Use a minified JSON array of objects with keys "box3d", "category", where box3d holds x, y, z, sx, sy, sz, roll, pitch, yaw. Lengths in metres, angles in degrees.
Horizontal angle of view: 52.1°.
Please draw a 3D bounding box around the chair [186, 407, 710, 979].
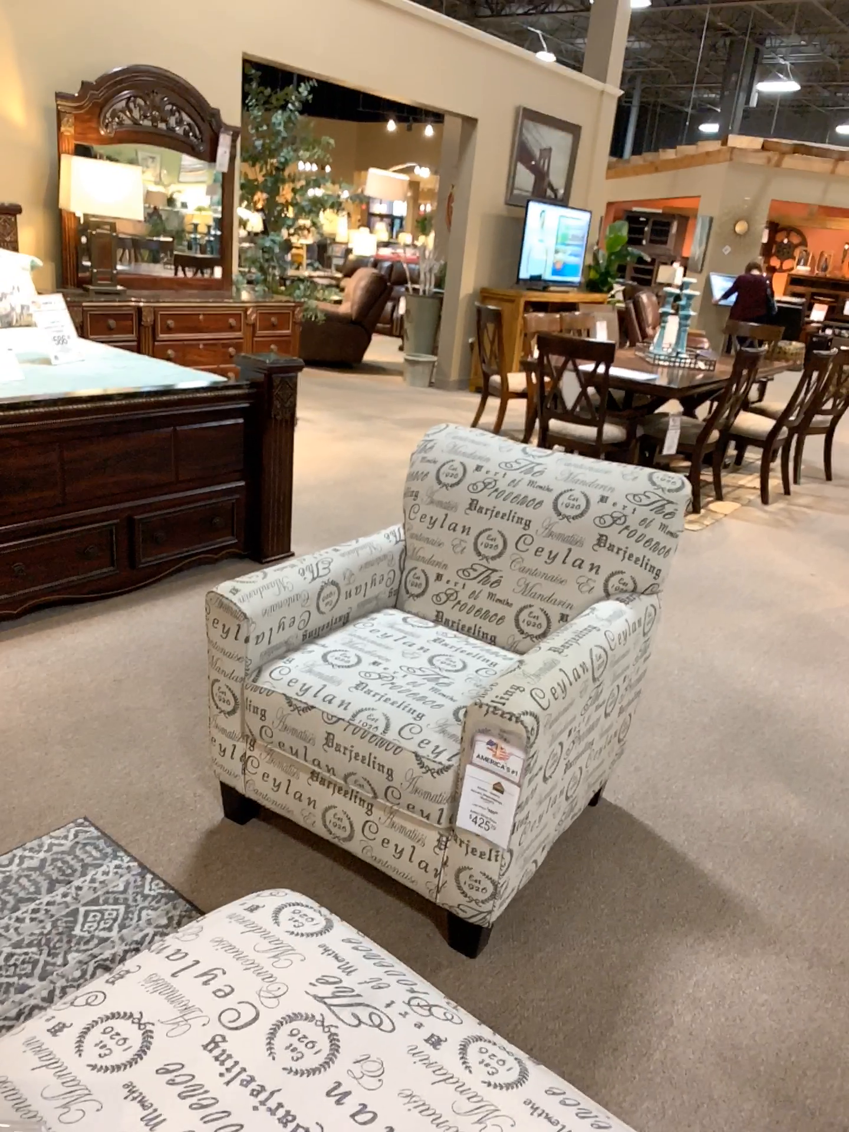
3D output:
[{"box3d":[0.061,0.173,2.118,0.835,0.870,0.918,18,24,29],"category":"chair"}]
